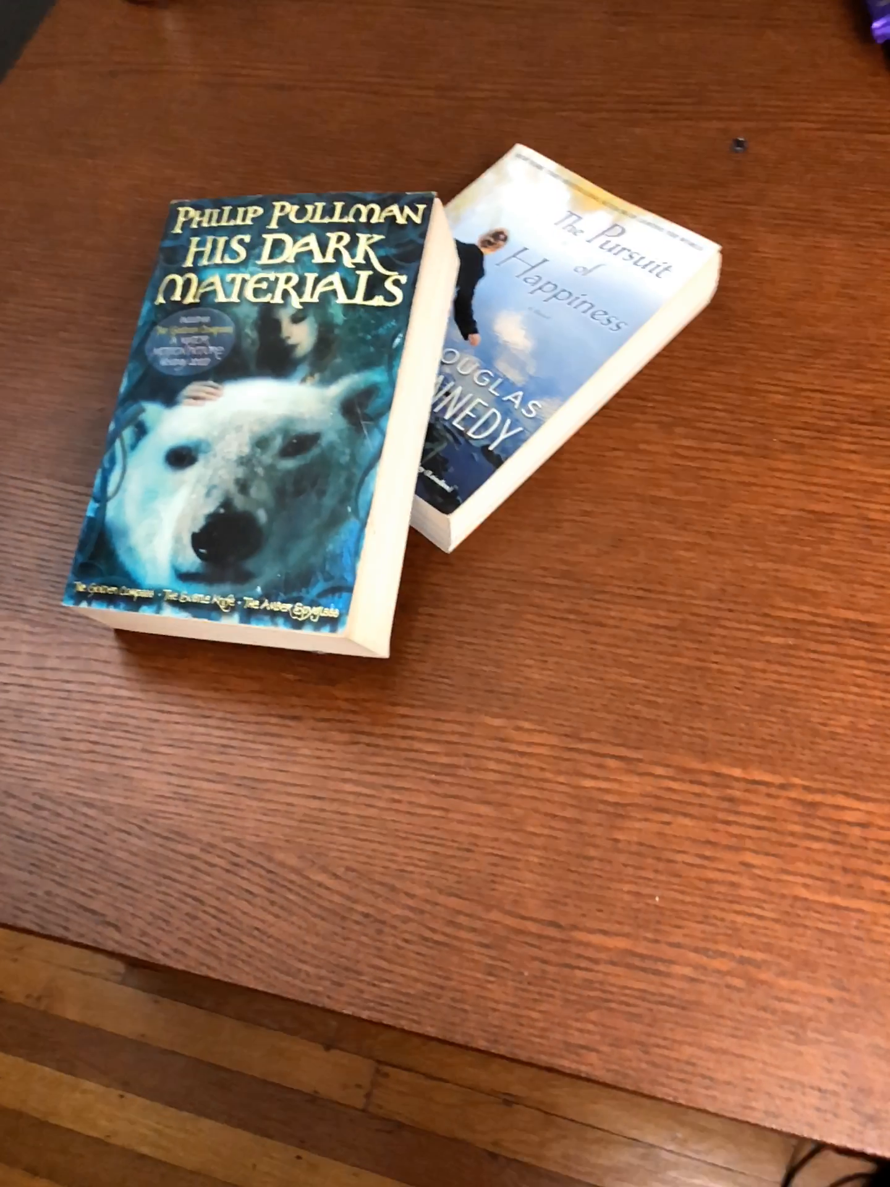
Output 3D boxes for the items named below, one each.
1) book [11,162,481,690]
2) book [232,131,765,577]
[{"bbox_3d":[-0.088,-0.086,0.476,0.170,0.060,0.240,5,75,14],"label":"book"},{"bbox_3d":[0.029,-0.145,0.545,0.240,0.040,0.170,-42,60,-13],"label":"book"}]
